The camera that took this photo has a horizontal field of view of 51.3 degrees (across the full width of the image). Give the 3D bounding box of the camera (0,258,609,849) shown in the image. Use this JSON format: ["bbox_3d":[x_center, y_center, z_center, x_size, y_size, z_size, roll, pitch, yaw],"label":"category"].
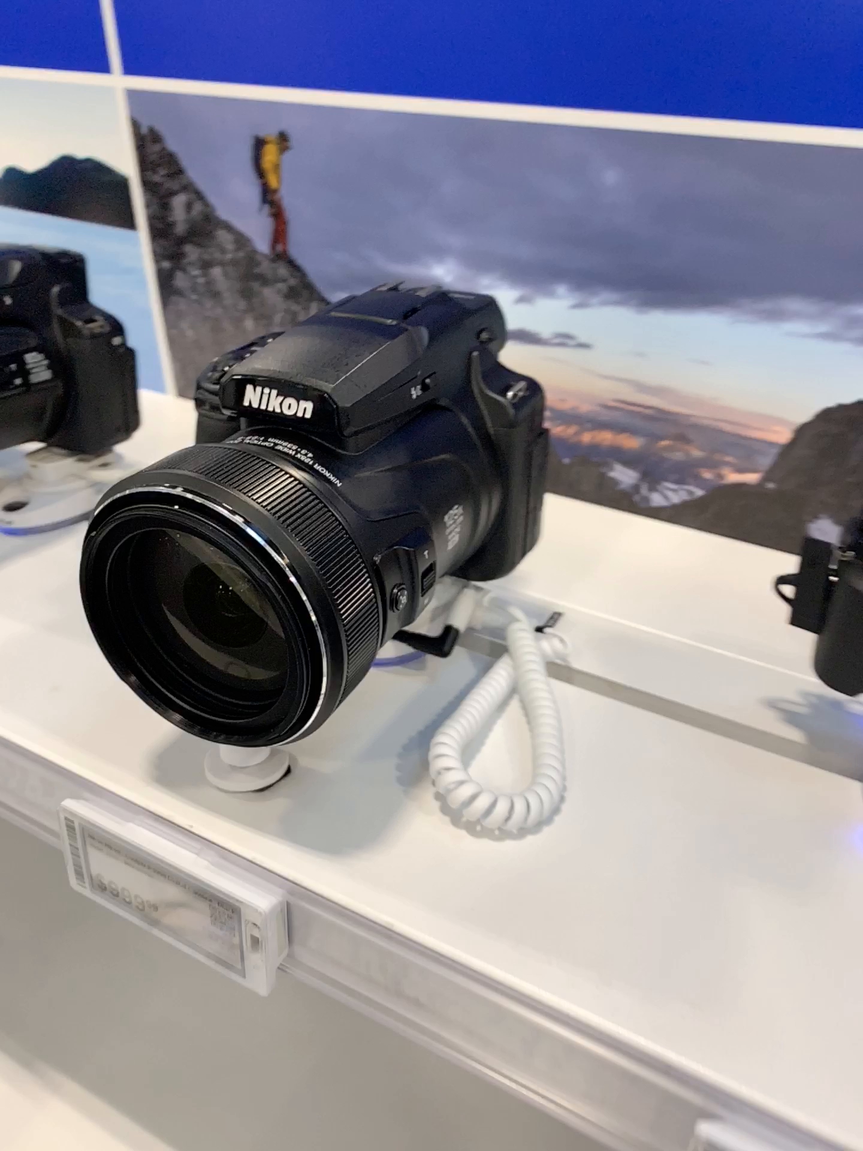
[{"bbox_3d":[-0.050,-0.039,0.339,0.160,0.109,0.221,16,31,22],"label":"camera"}]

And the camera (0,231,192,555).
[{"bbox_3d":[-0.238,-0.104,0.452,0.160,0.099,0.151,16,31,23],"label":"camera"}]

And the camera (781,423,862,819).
[{"bbox_3d":[0.193,0.010,0.304,0.120,0.089,0.060,14,30,19],"label":"camera"}]
